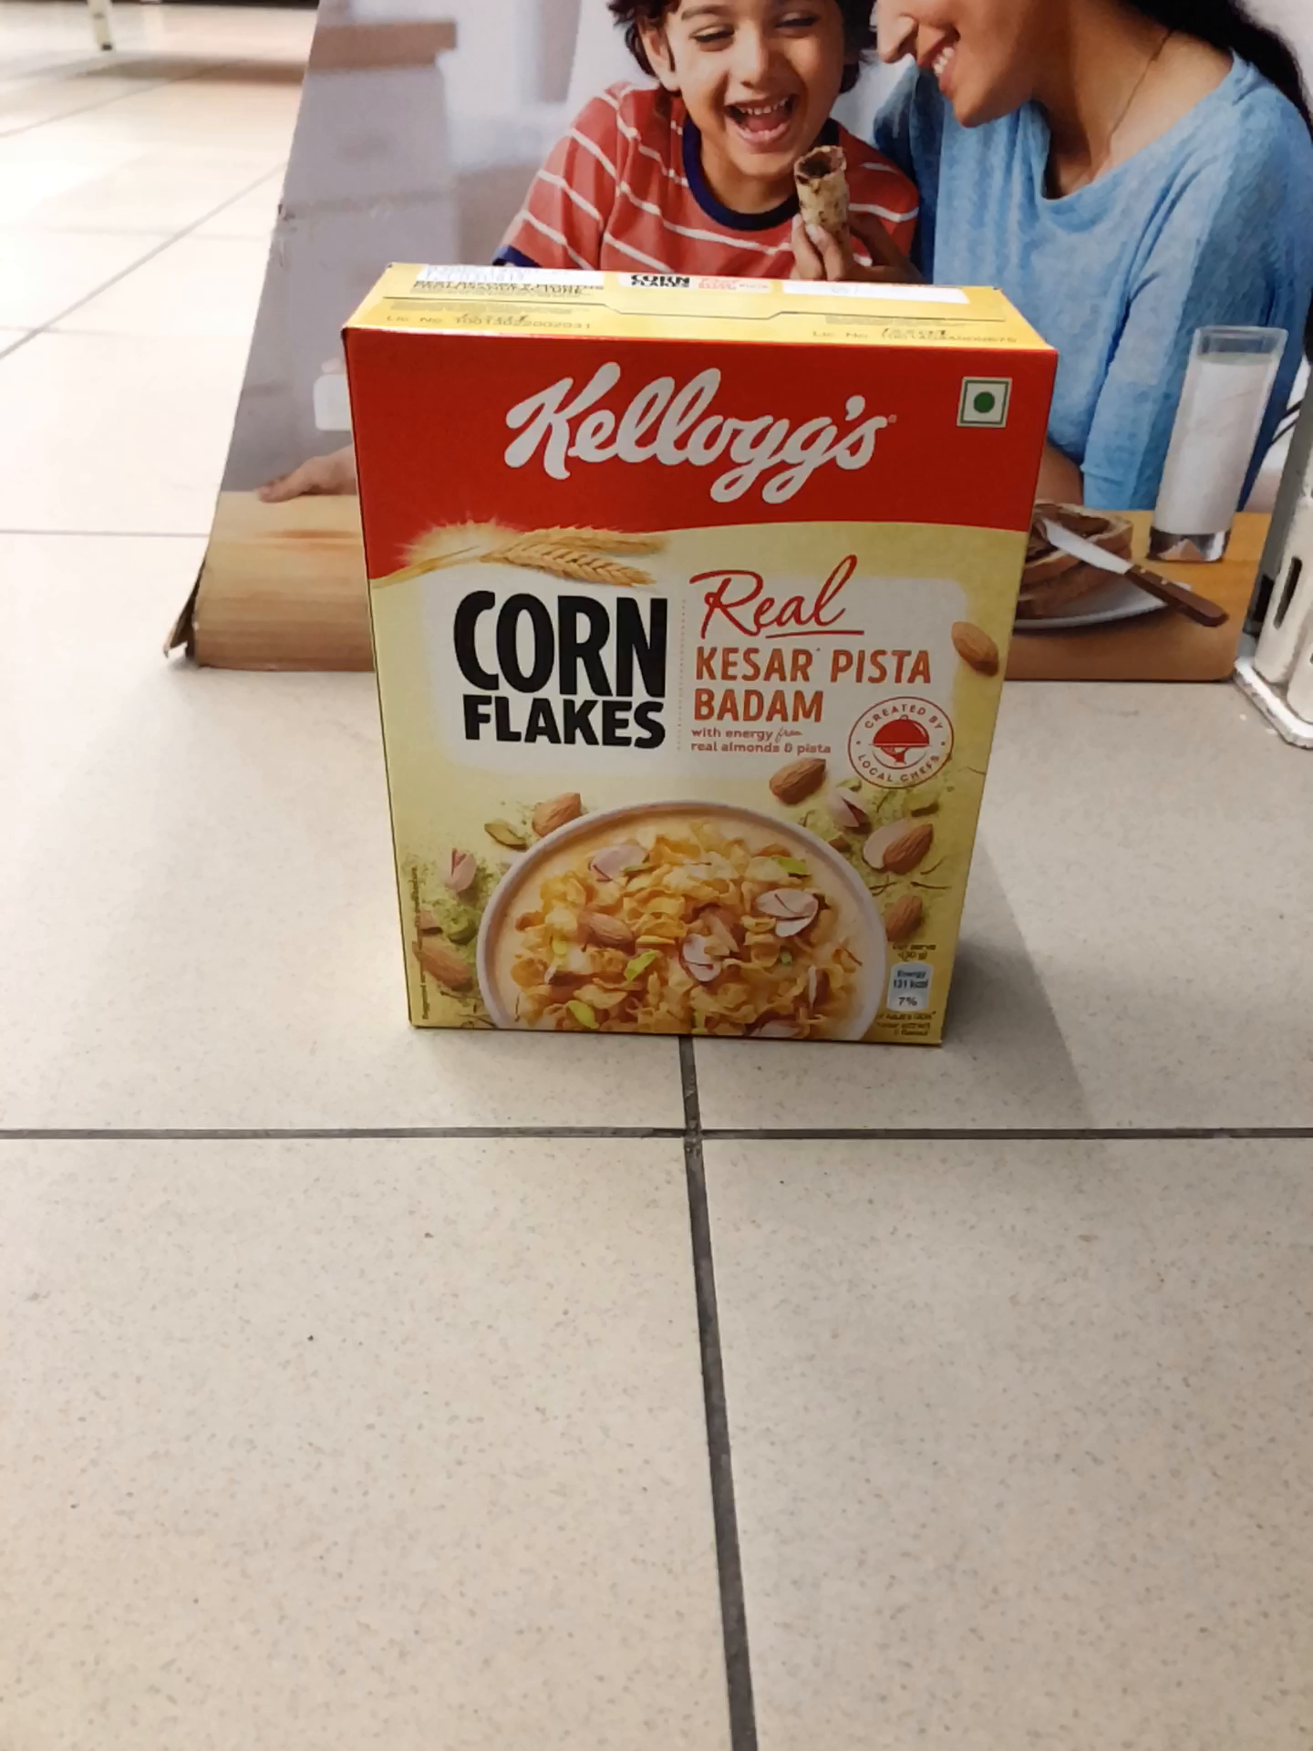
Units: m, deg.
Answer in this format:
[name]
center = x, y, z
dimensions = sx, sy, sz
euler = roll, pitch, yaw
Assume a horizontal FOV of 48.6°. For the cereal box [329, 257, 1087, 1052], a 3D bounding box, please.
[cereal box]
center = 0.006, -0.045, 0.338
dimensions = 0.140, 0.169, 0.060
euler = 1, 32, -3
